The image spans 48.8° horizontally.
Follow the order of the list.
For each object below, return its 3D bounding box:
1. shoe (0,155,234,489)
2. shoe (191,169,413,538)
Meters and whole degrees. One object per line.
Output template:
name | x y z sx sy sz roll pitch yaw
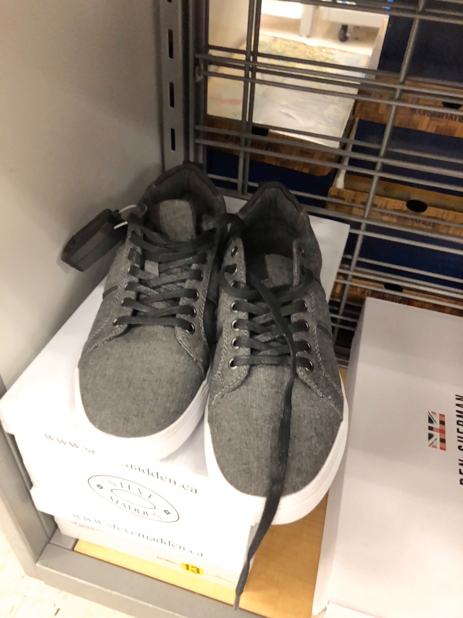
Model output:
shoe | -0.064 -0.011 0.402 0.107 0.099 0.262 5 43 1
shoe | 0.034 0.010 0.380 0.107 0.099 0.272 3 43 -1
